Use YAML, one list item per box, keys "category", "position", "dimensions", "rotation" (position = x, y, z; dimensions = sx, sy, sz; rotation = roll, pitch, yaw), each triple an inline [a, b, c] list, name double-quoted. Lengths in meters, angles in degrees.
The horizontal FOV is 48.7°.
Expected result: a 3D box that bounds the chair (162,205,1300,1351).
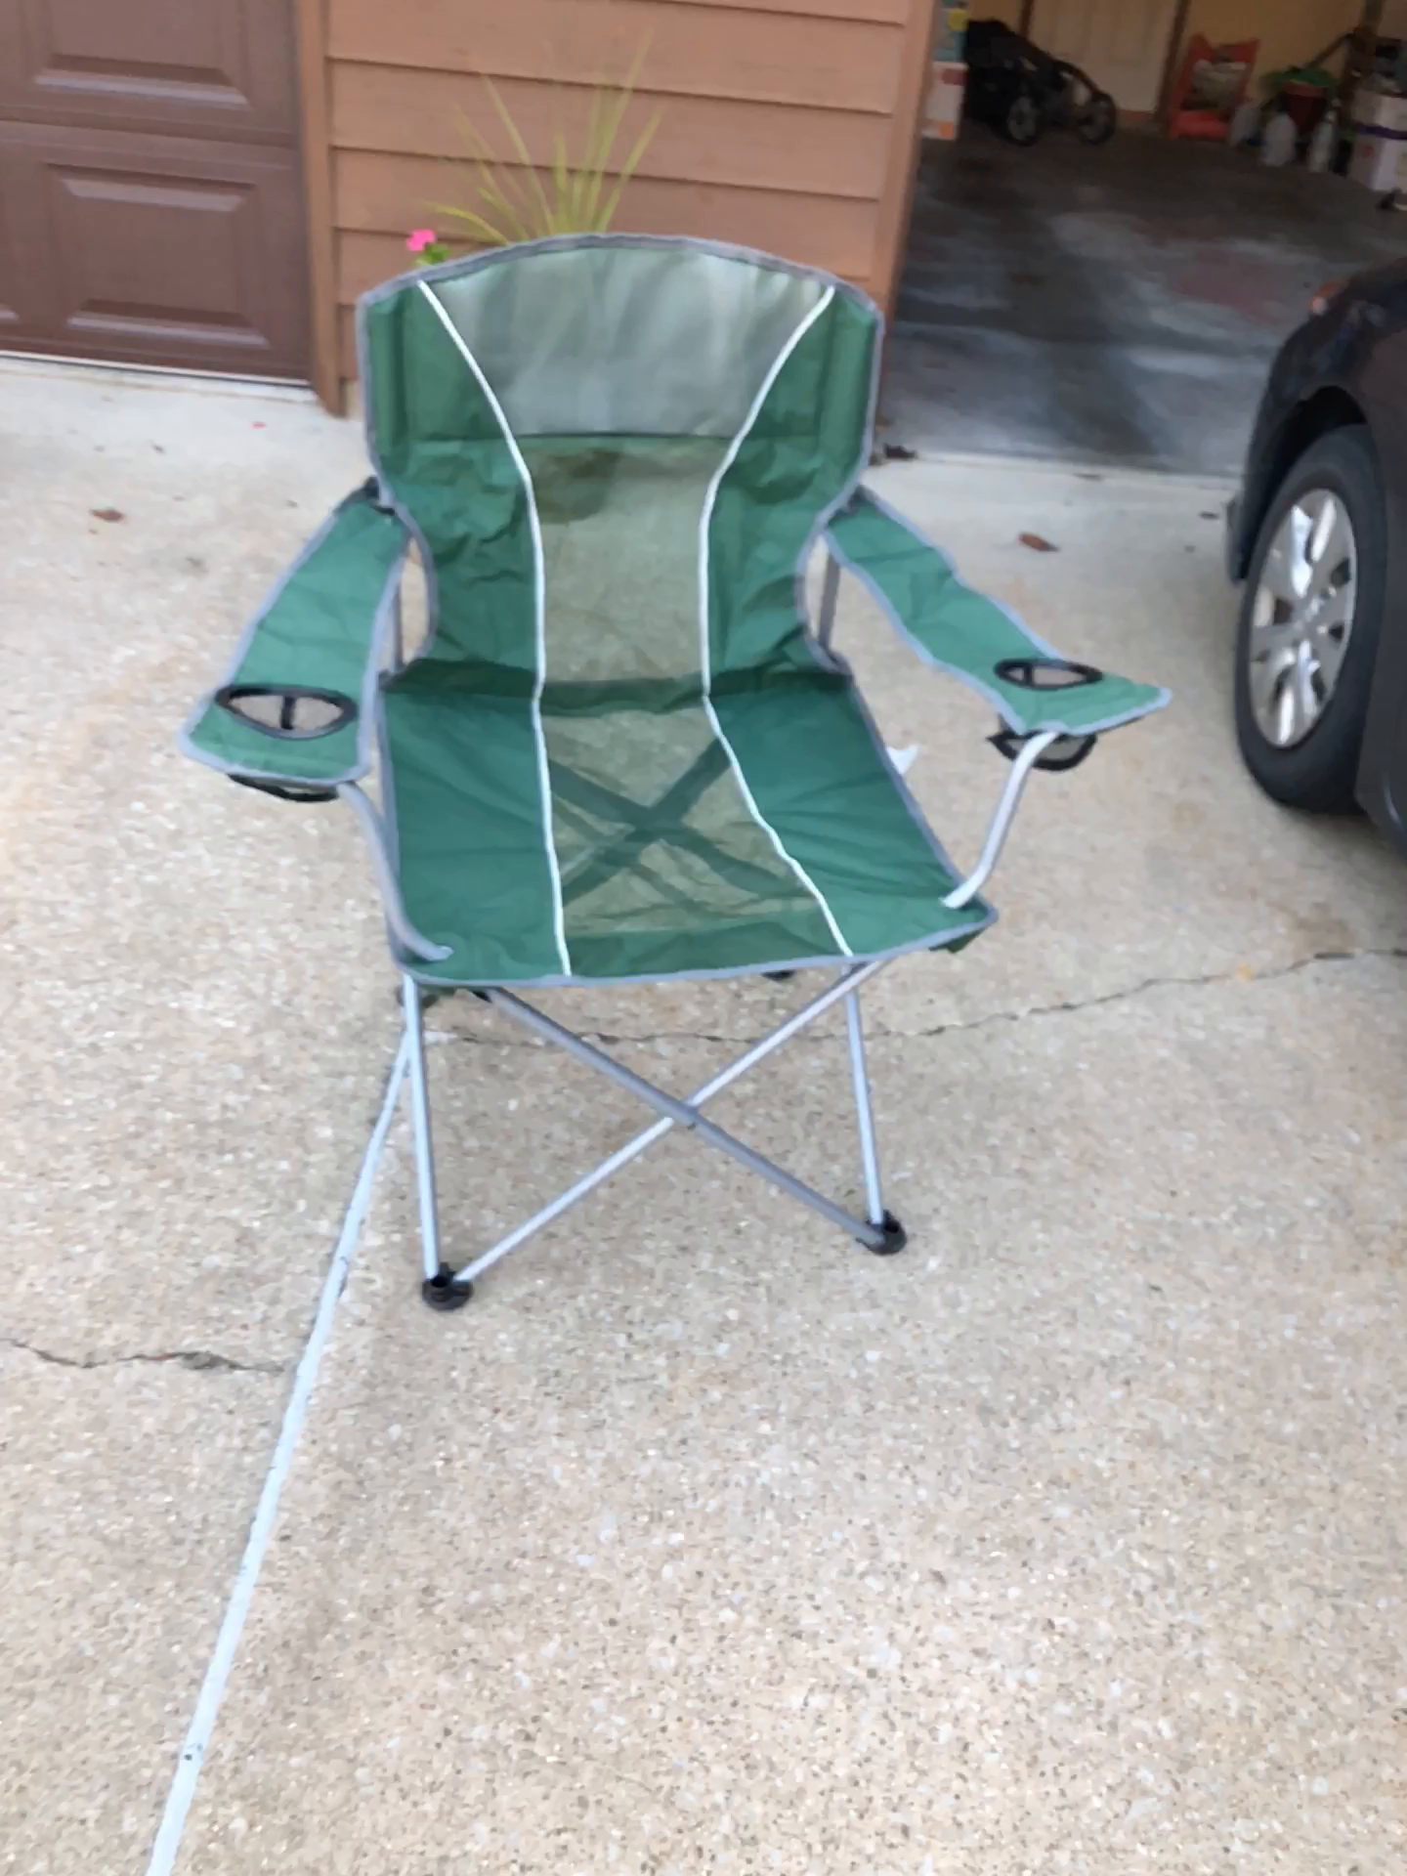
- category: "chair"
  position: [-0.052, -0.177, 1.598]
  dimensions: [0.820, 0.907, 0.642]
  rotation: [-3, 36, -13]
